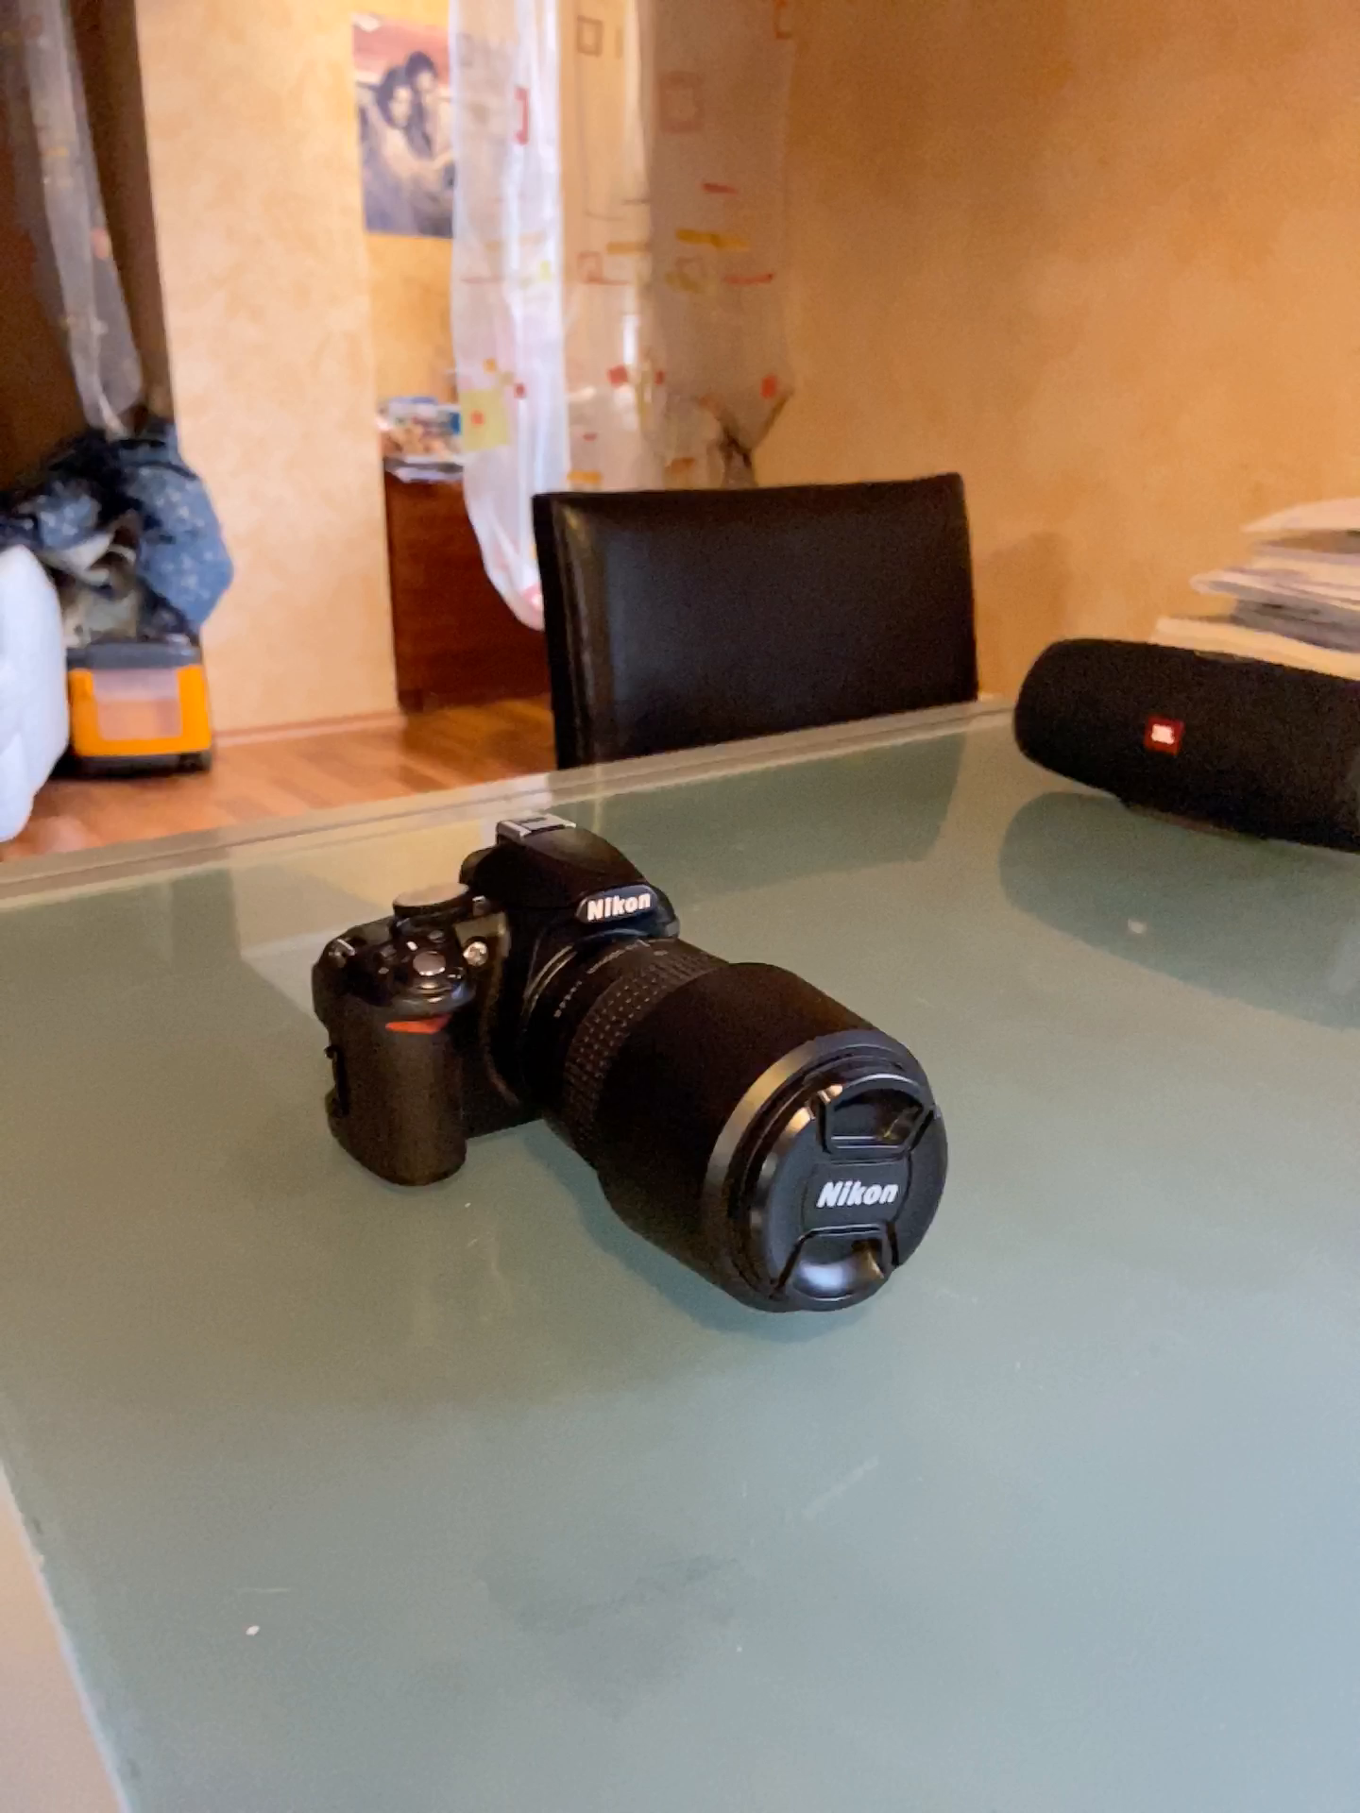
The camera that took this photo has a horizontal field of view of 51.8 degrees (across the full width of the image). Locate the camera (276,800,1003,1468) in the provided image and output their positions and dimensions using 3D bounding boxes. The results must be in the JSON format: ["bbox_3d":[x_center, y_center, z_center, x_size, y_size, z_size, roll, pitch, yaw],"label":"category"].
[{"bbox_3d":[-0.022,0.045,0.412,0.124,0.094,0.188,-13,24,-32],"label":"camera"}]
